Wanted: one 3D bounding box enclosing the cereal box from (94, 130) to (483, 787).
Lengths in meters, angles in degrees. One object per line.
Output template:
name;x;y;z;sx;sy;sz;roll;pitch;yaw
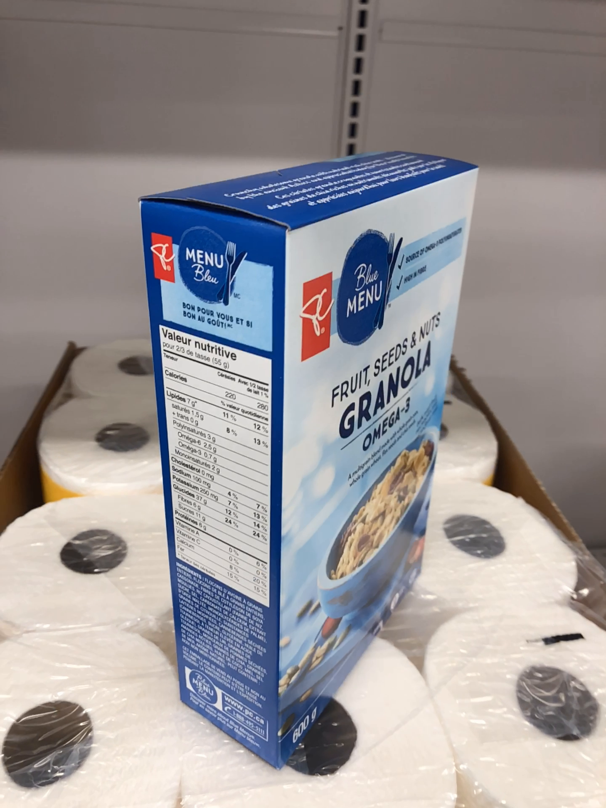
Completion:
cereal box;0.005;0.016;0.302;0.060;0.239;0.161;19;32;29
